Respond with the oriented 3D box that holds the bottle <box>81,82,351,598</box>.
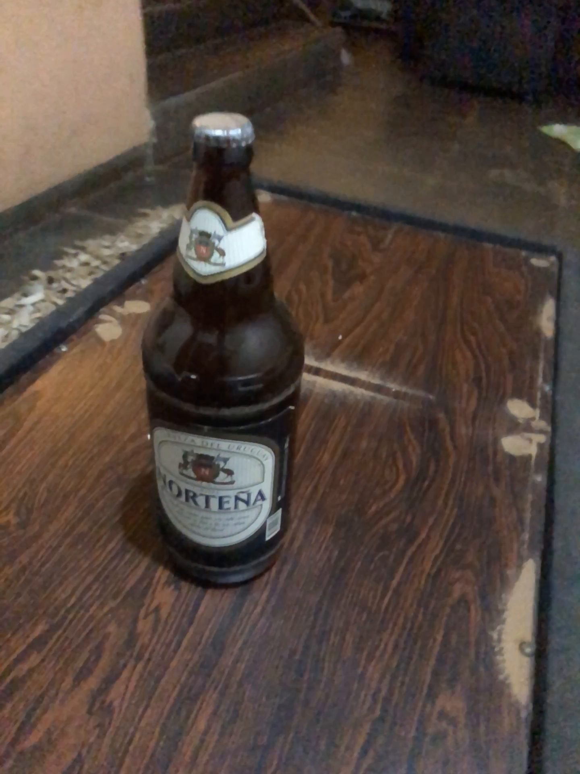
[{"bbox_3d":[-0.036,-0.012,0.365,0.100,0.268,0.101,4,36,-3],"label":"bottle"}]
